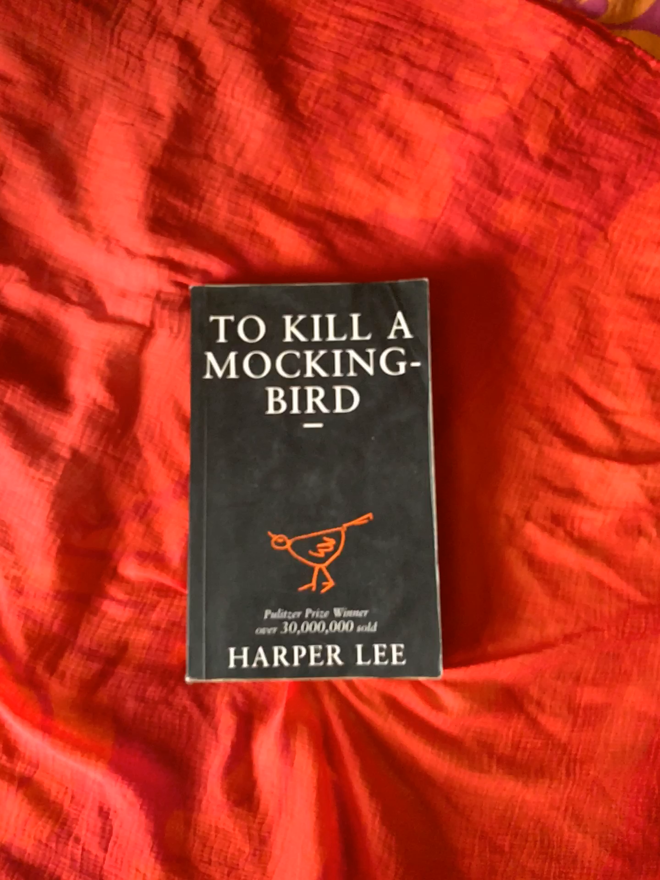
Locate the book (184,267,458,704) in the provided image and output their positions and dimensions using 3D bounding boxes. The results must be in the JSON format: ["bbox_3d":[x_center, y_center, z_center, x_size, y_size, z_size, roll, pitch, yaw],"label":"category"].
[{"bbox_3d":[-0.006,0.017,0.310,0.110,0.040,0.180,-1,84,-3],"label":"book"}]
